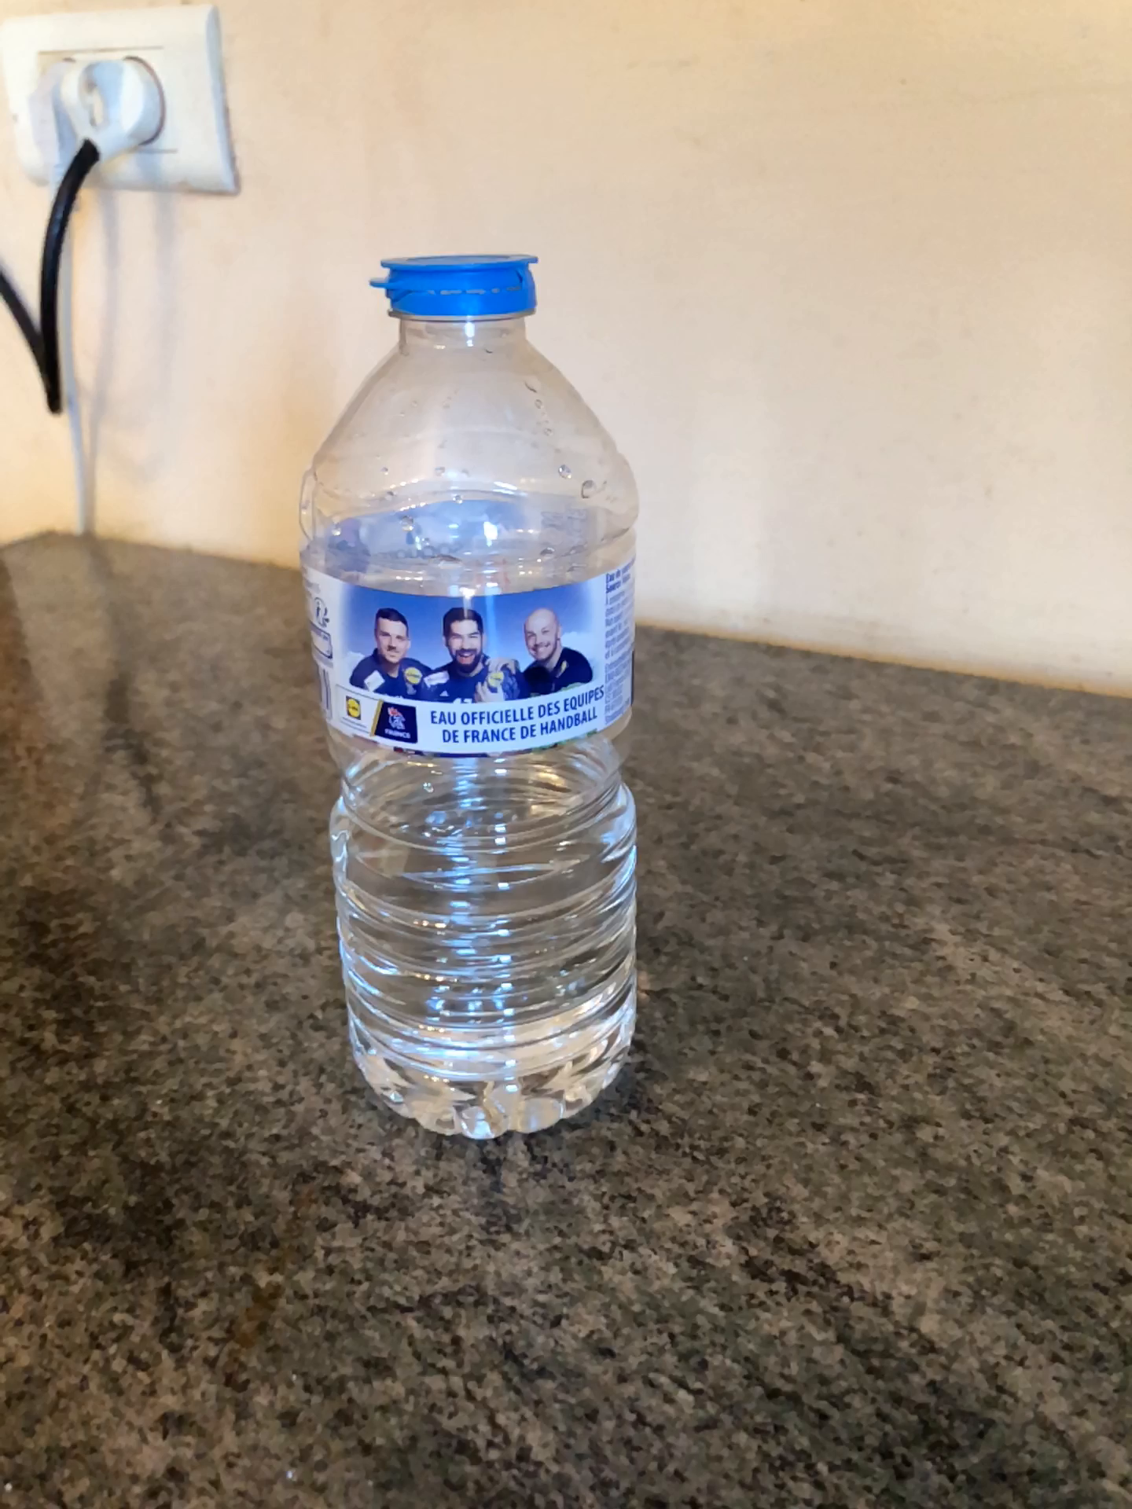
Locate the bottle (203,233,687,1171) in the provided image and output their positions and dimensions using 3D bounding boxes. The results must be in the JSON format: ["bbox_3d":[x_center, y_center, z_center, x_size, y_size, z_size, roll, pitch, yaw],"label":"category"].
[{"bbox_3d":[-0.016,-0.010,0.252,0.070,0.169,0.070,-2,24,1],"label":"bottle"}]
